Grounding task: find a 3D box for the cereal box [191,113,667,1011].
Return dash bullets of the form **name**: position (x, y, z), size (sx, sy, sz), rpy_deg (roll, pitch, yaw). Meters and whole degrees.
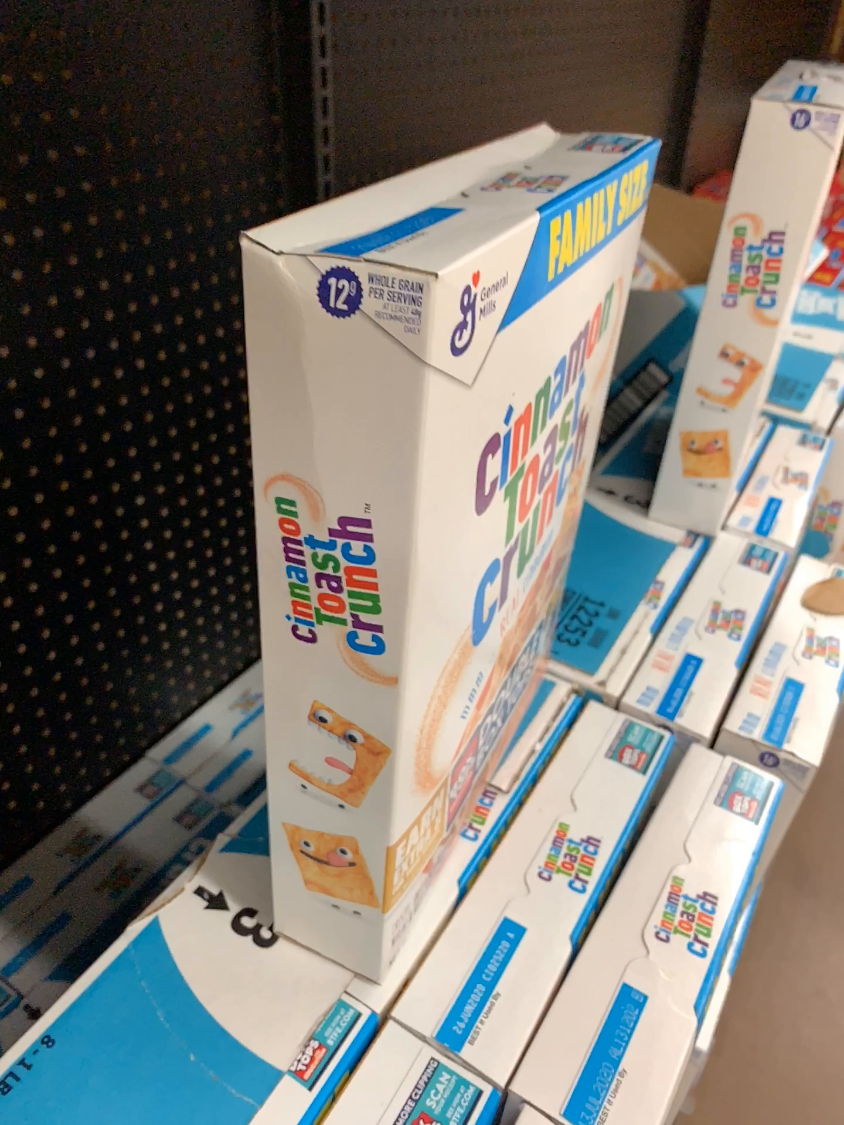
- **cereal box**: position (0.017, -0.009, 0.374), size (0.060, 0.298, 0.241), rpy_deg (17, 37, 19)
